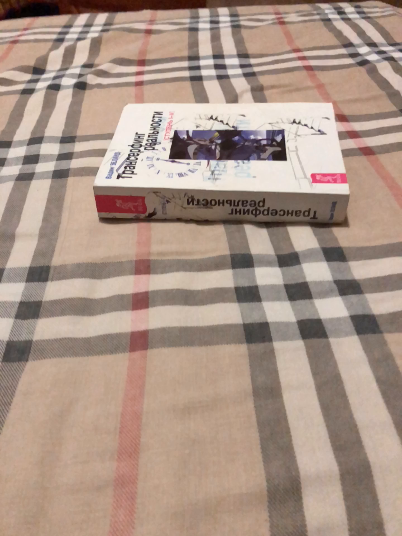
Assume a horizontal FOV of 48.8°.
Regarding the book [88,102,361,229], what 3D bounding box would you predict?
[{"bbox_3d":[0.020,-0.097,0.393,0.202,0.037,0.144,2,43,2],"label":"book"}]
